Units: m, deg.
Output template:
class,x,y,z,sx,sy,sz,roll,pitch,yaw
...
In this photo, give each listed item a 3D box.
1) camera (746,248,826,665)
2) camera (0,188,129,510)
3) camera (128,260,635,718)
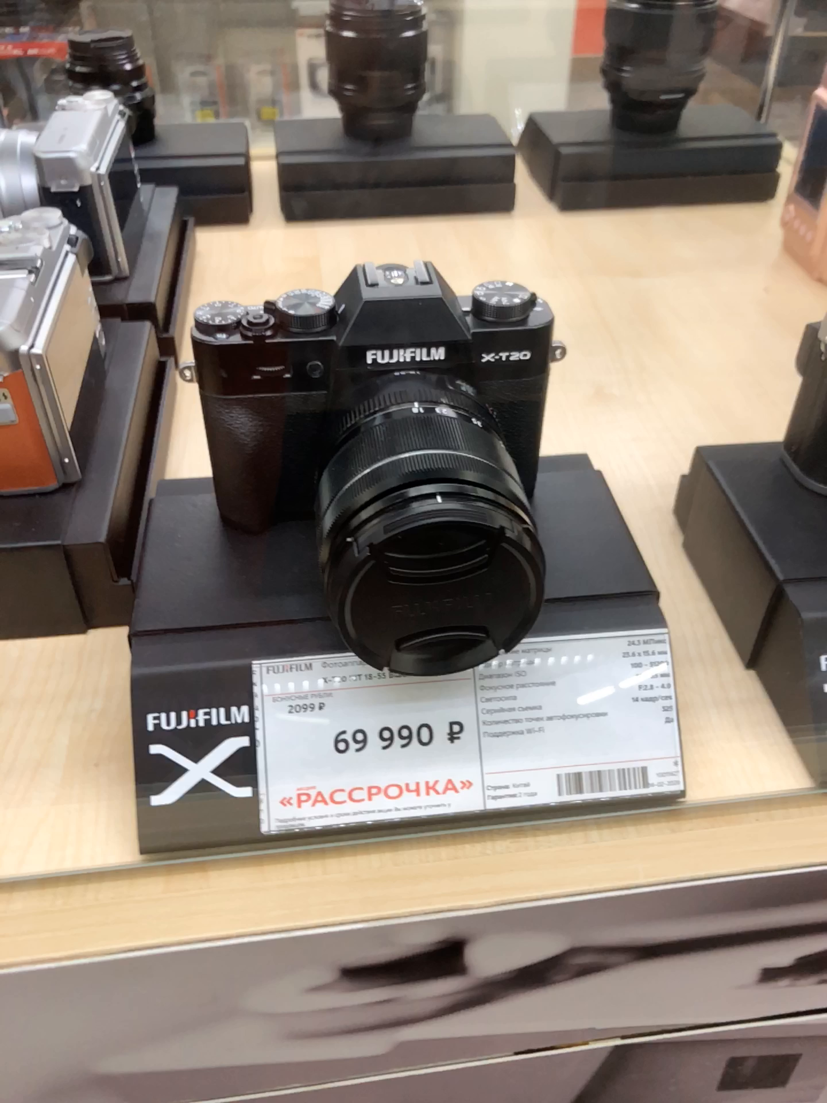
class,x,y,z,sx,sy,sz,roll,pitch,yaw
camera,0.205,-0.038,0.303,0.130,0.071,0.125,-4,40,-6
camera,-0.155,-0.080,0.340,0.074,0.063,0.122,-4,40,-6
camera,-0.013,-0.027,0.295,0.121,0.080,0.131,-3,40,-5
